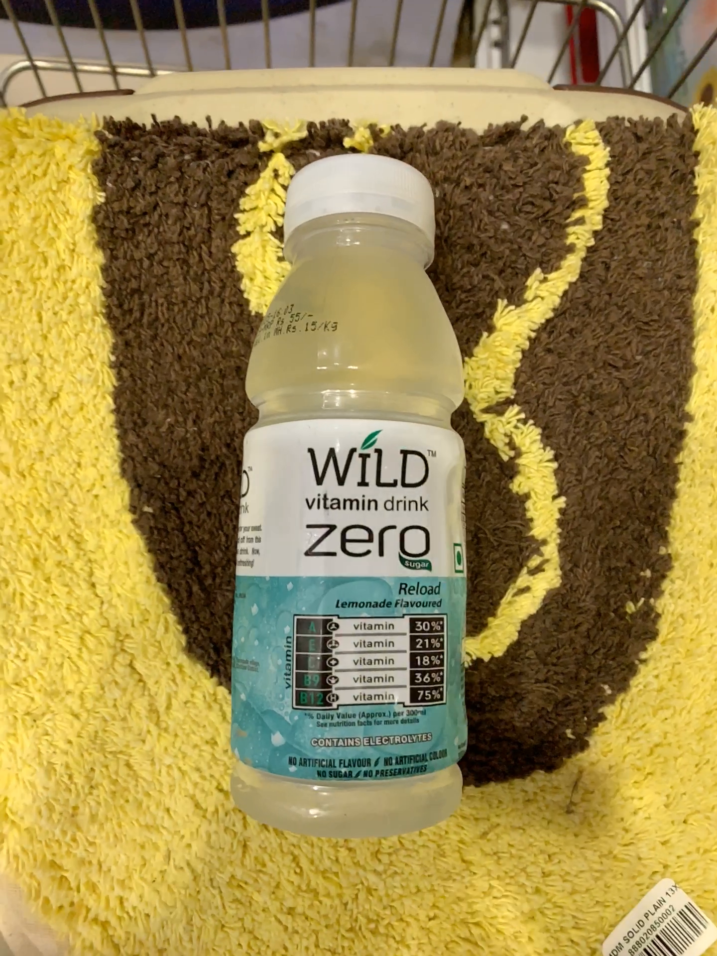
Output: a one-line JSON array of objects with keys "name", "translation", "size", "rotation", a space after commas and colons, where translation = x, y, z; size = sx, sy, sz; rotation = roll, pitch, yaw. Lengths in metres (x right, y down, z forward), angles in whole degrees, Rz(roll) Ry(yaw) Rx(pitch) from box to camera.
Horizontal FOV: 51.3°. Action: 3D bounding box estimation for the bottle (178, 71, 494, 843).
[{"name": "bottle", "translation": [-0.004, -0.007, 0.174], "size": [0.060, 0.040, 0.160], "rotation": [1, 82, -2]}]
